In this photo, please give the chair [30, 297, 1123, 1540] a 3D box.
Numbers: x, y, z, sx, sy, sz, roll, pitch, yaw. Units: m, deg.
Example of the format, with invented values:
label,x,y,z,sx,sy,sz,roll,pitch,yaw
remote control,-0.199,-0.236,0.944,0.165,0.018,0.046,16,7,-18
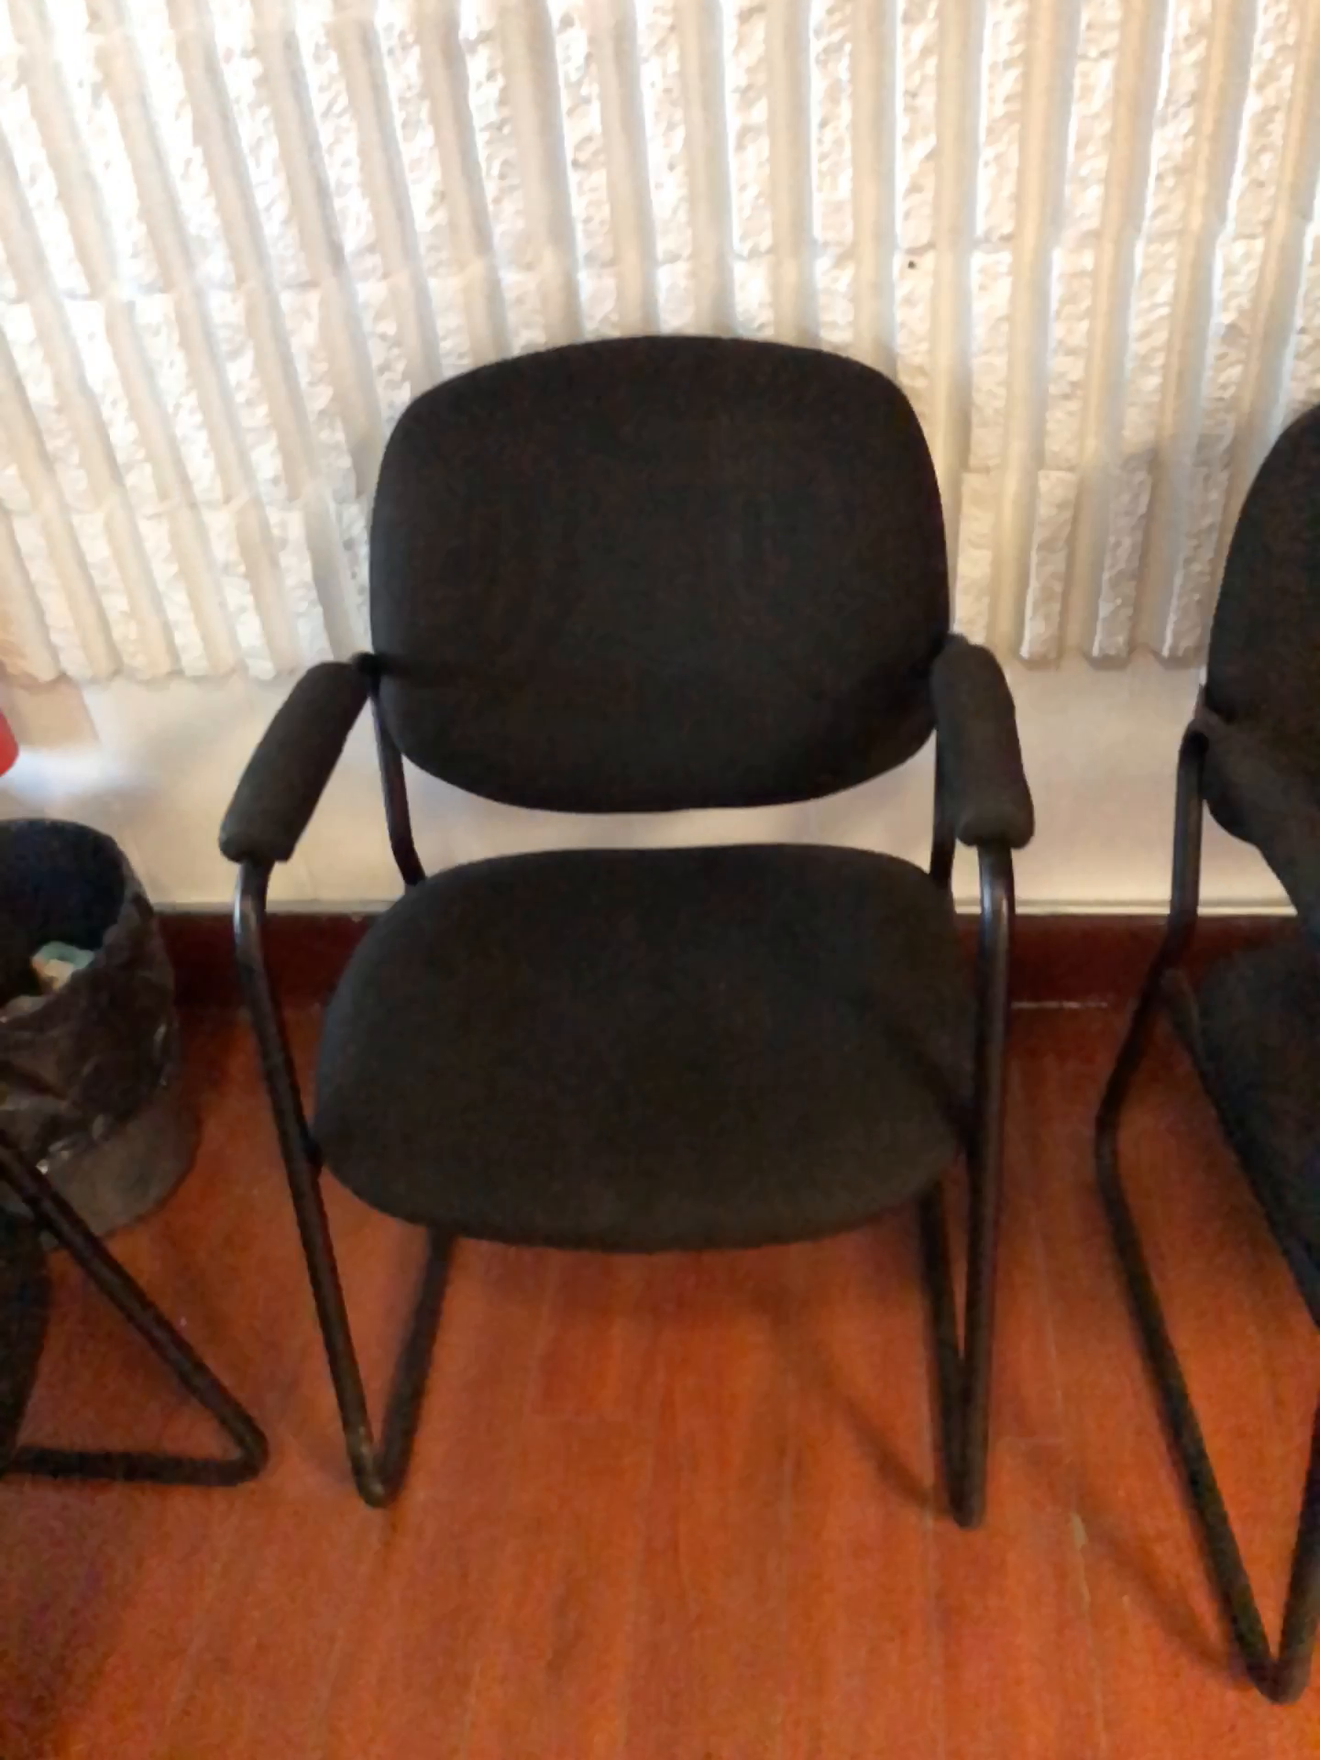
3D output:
label,x,y,z,sx,sy,sz,roll,pitch,yaw
chair,0.003,0.017,1.315,0.590,0.795,0.775,-2,38,6
